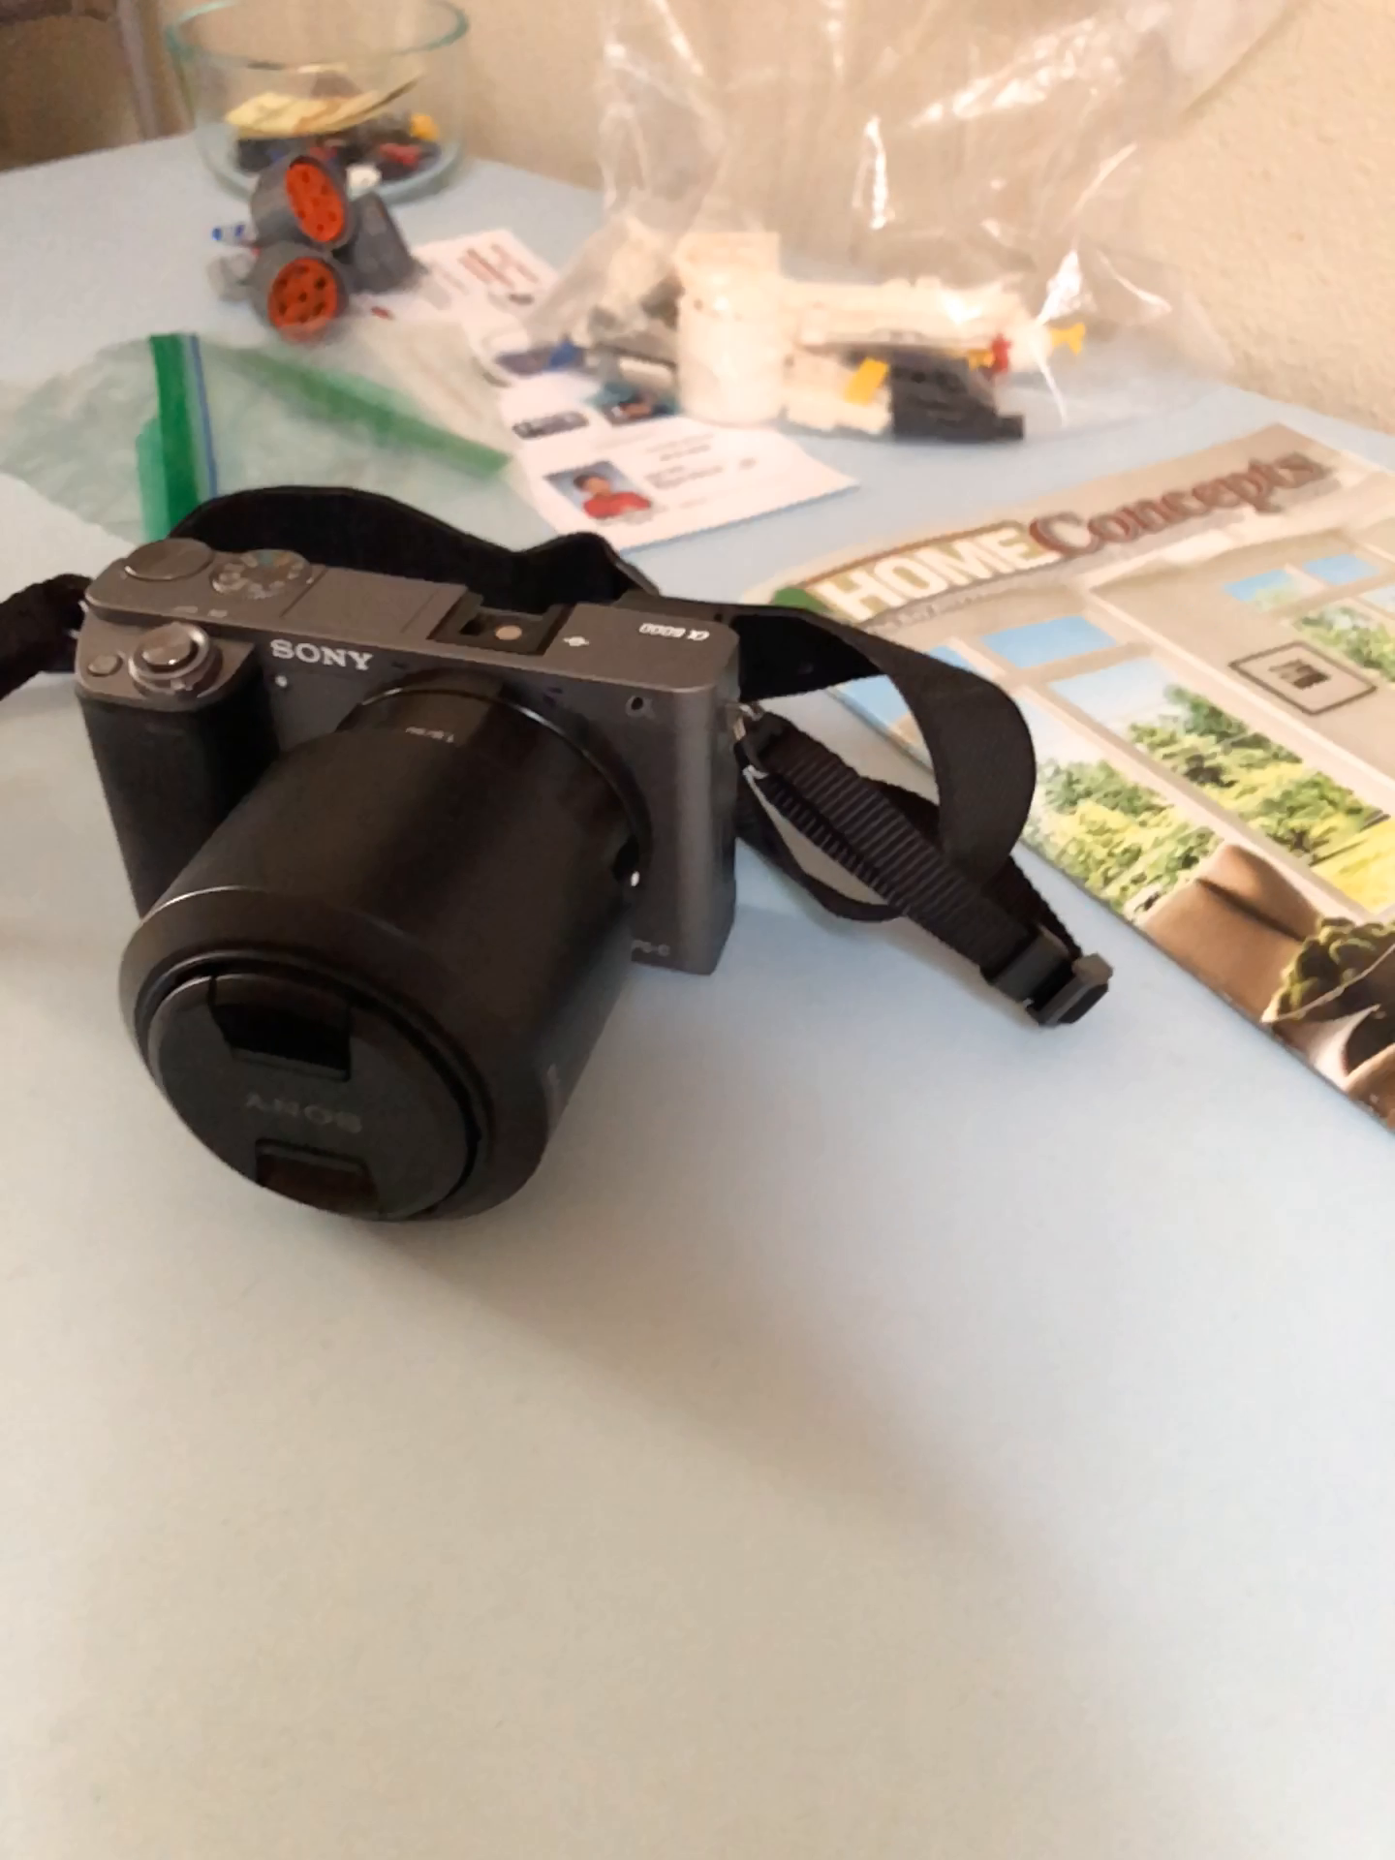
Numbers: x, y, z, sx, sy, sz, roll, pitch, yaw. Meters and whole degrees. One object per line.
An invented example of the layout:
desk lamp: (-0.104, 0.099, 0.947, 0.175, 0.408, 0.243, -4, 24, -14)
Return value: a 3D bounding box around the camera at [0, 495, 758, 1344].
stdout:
camera: (-0.067, -0.010, 0.268, 0.130, 0.070, 0.111, 11, 43, 13)
